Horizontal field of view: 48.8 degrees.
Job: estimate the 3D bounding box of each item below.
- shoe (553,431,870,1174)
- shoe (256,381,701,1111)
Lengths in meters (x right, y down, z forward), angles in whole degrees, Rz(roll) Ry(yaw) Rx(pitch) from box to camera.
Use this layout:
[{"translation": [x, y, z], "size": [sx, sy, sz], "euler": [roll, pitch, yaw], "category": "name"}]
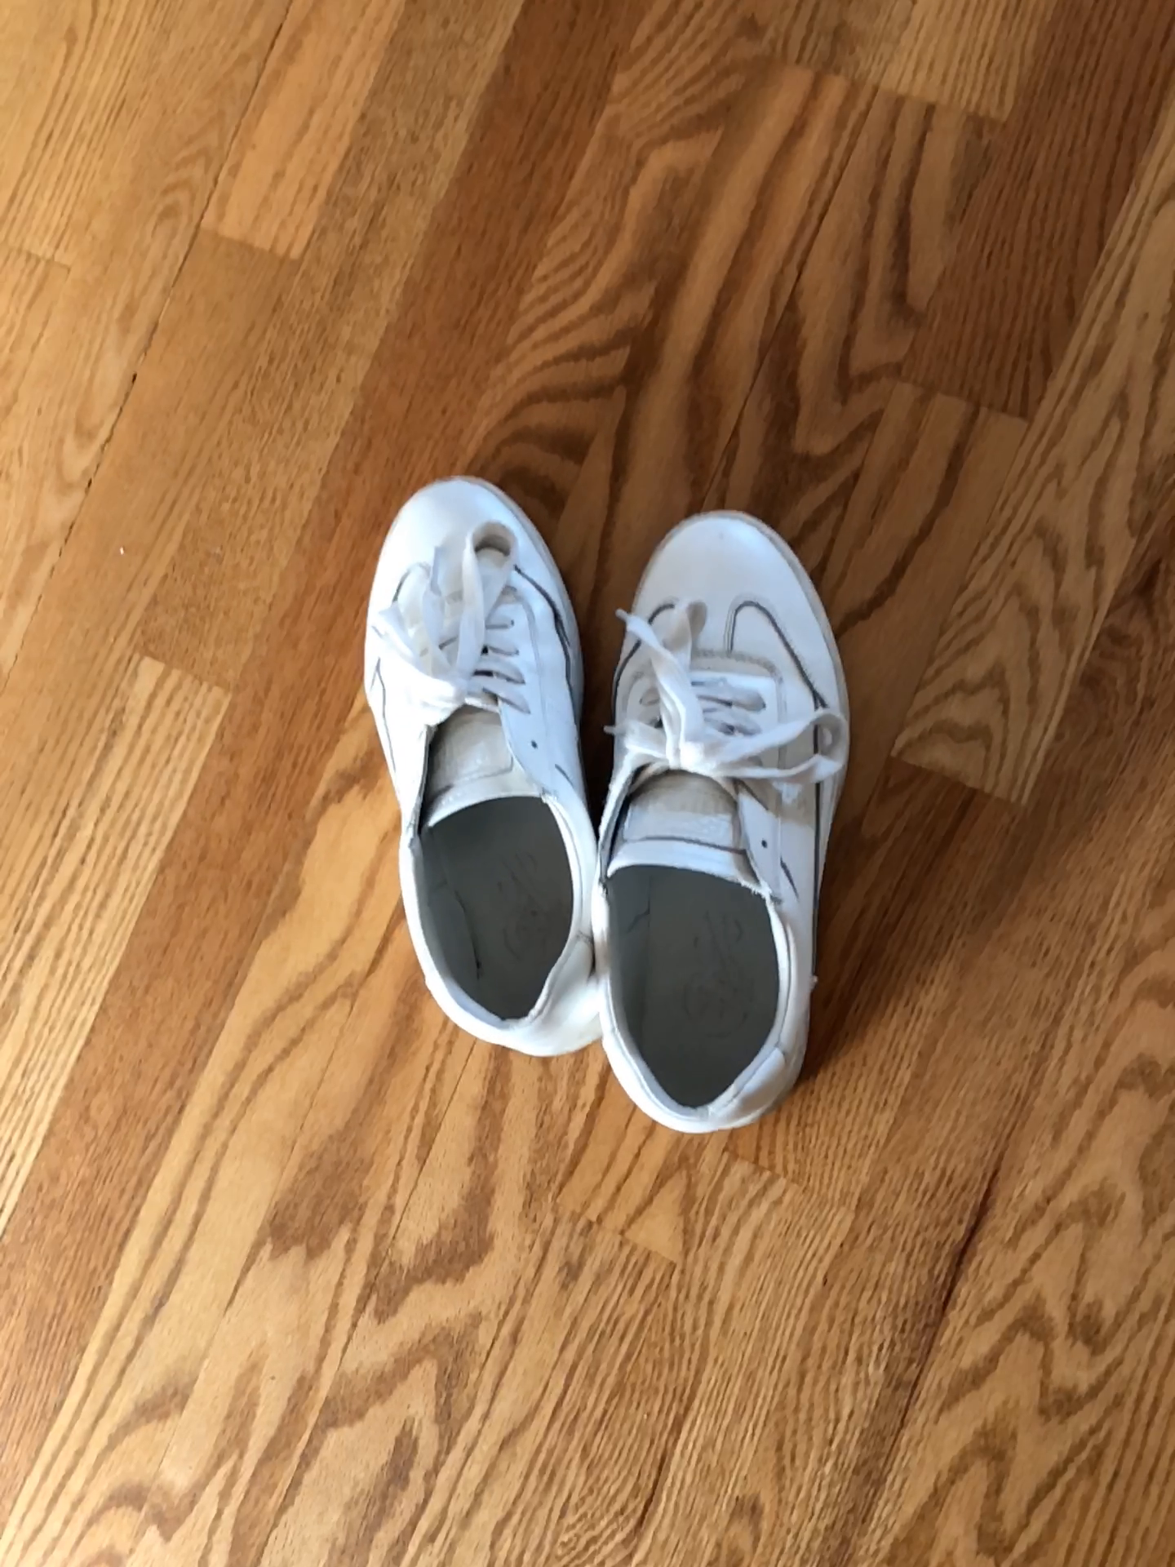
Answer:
[{"translation": [0.056, 0.007, 0.514], "size": [0.102, 0.107, 0.260], "euler": [2, 85, 12], "category": "shoe"}, {"translation": [-0.042, -0.012, 0.539], "size": [0.102, 0.104, 0.260], "euler": [-16, 81, 10], "category": "shoe"}]
